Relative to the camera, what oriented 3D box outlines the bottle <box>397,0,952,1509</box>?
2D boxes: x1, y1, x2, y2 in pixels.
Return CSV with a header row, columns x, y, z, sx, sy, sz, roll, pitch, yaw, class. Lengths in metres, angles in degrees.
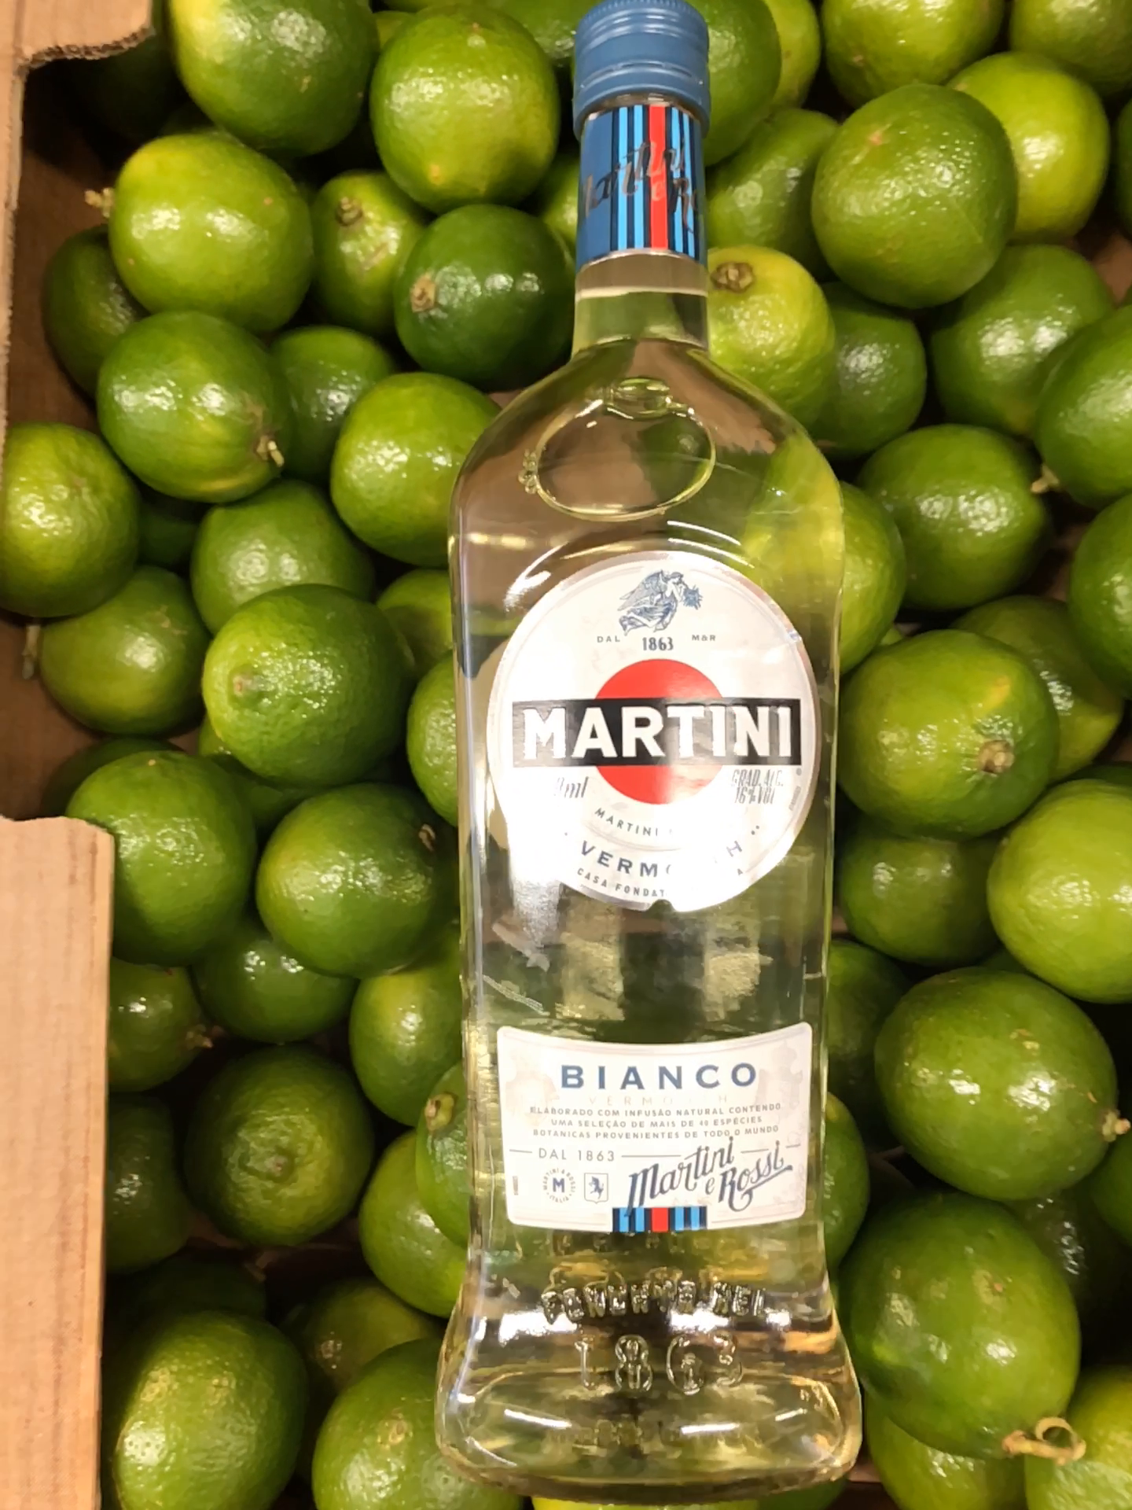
x,y,z,sx,sy,sz,roll,pitch,yaw,class
0.021,-0.012,0.273,0.100,0.050,0.320,0,83,2,bottle
